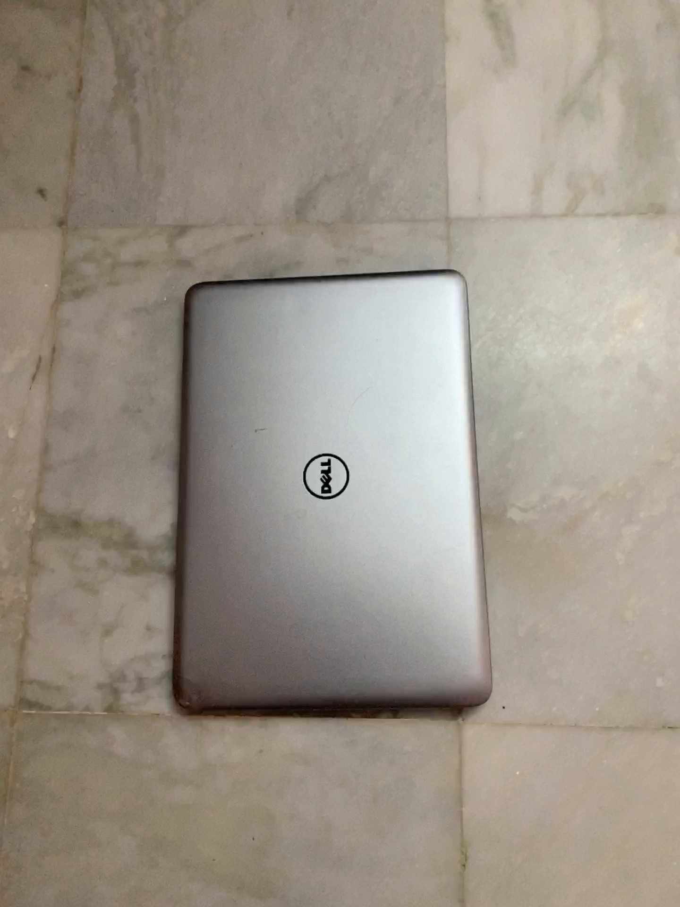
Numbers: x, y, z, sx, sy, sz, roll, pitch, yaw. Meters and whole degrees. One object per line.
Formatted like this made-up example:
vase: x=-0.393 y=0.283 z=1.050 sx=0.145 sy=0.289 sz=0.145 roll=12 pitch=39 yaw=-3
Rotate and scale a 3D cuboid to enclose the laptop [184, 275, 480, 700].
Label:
laptop: x=-0.011 y=0.020 z=0.579 sx=0.234 sy=0.001 sz=0.351 roll=-2 pitch=79 yaw=3
